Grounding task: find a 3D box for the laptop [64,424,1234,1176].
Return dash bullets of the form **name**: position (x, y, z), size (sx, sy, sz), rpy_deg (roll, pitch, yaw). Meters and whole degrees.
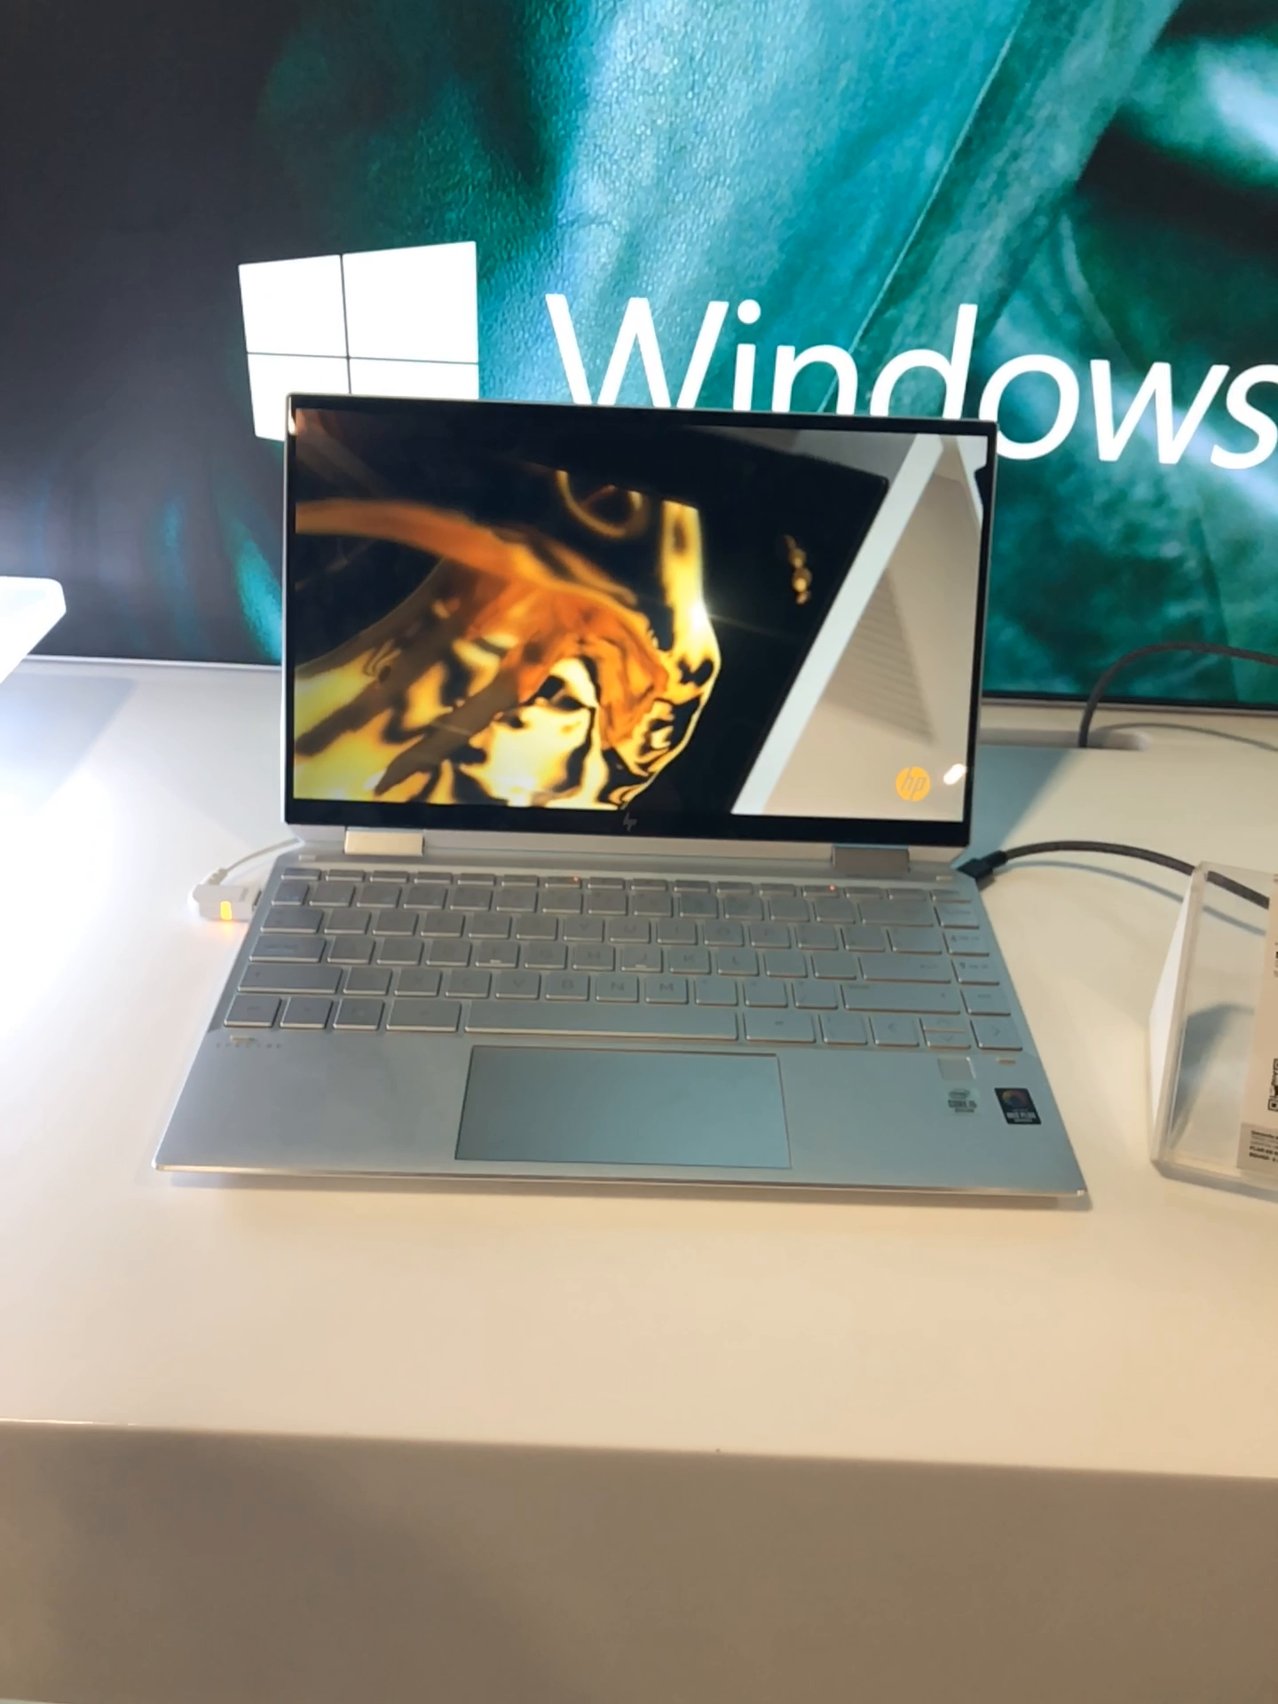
- **laptop**: position (-0.002, -0.033, 0.502), size (0.281, 0.194, 0.241), rpy_deg (3, 26, -2)
